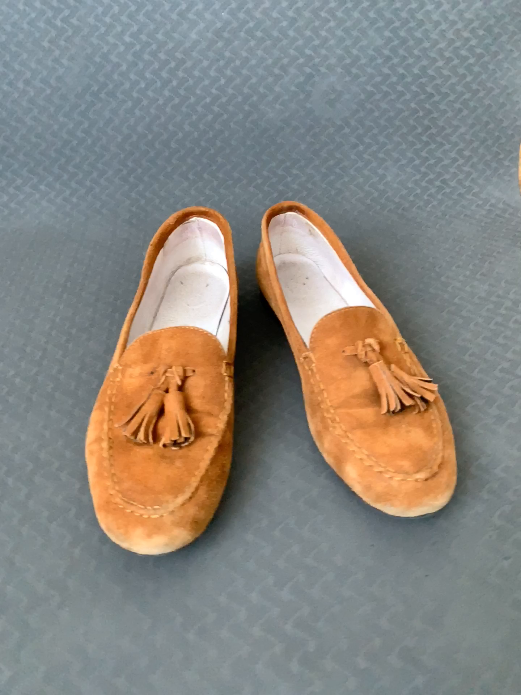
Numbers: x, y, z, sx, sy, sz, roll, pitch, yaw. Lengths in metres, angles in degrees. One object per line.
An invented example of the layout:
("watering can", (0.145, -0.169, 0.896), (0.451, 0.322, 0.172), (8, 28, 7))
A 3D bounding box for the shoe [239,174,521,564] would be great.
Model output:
("shoe", (0.058, -0.007, 0.342), (0.090, 0.090, 0.241), (-10, 46, -11))

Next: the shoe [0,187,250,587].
("shoe", (-0.058, 0.005, 0.318), (0.090, 0.090, 0.231), (2, 45, 1))
